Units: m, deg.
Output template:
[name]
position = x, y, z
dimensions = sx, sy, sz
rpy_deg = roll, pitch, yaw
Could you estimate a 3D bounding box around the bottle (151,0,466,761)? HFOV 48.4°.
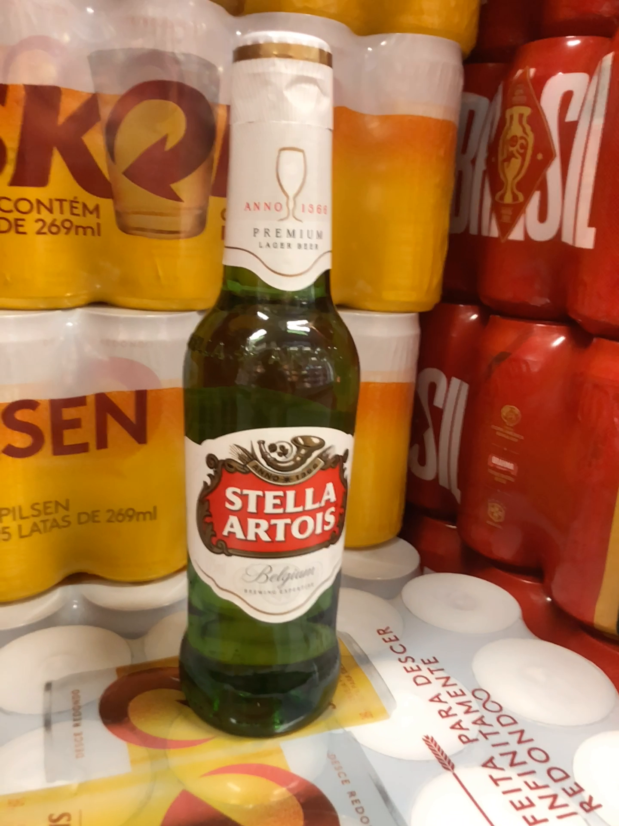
[bottle]
position = -0.010, -0.008, 0.222
dimensions = 0.070, 0.219, 0.060
rpy_deg = -3, 18, -21
